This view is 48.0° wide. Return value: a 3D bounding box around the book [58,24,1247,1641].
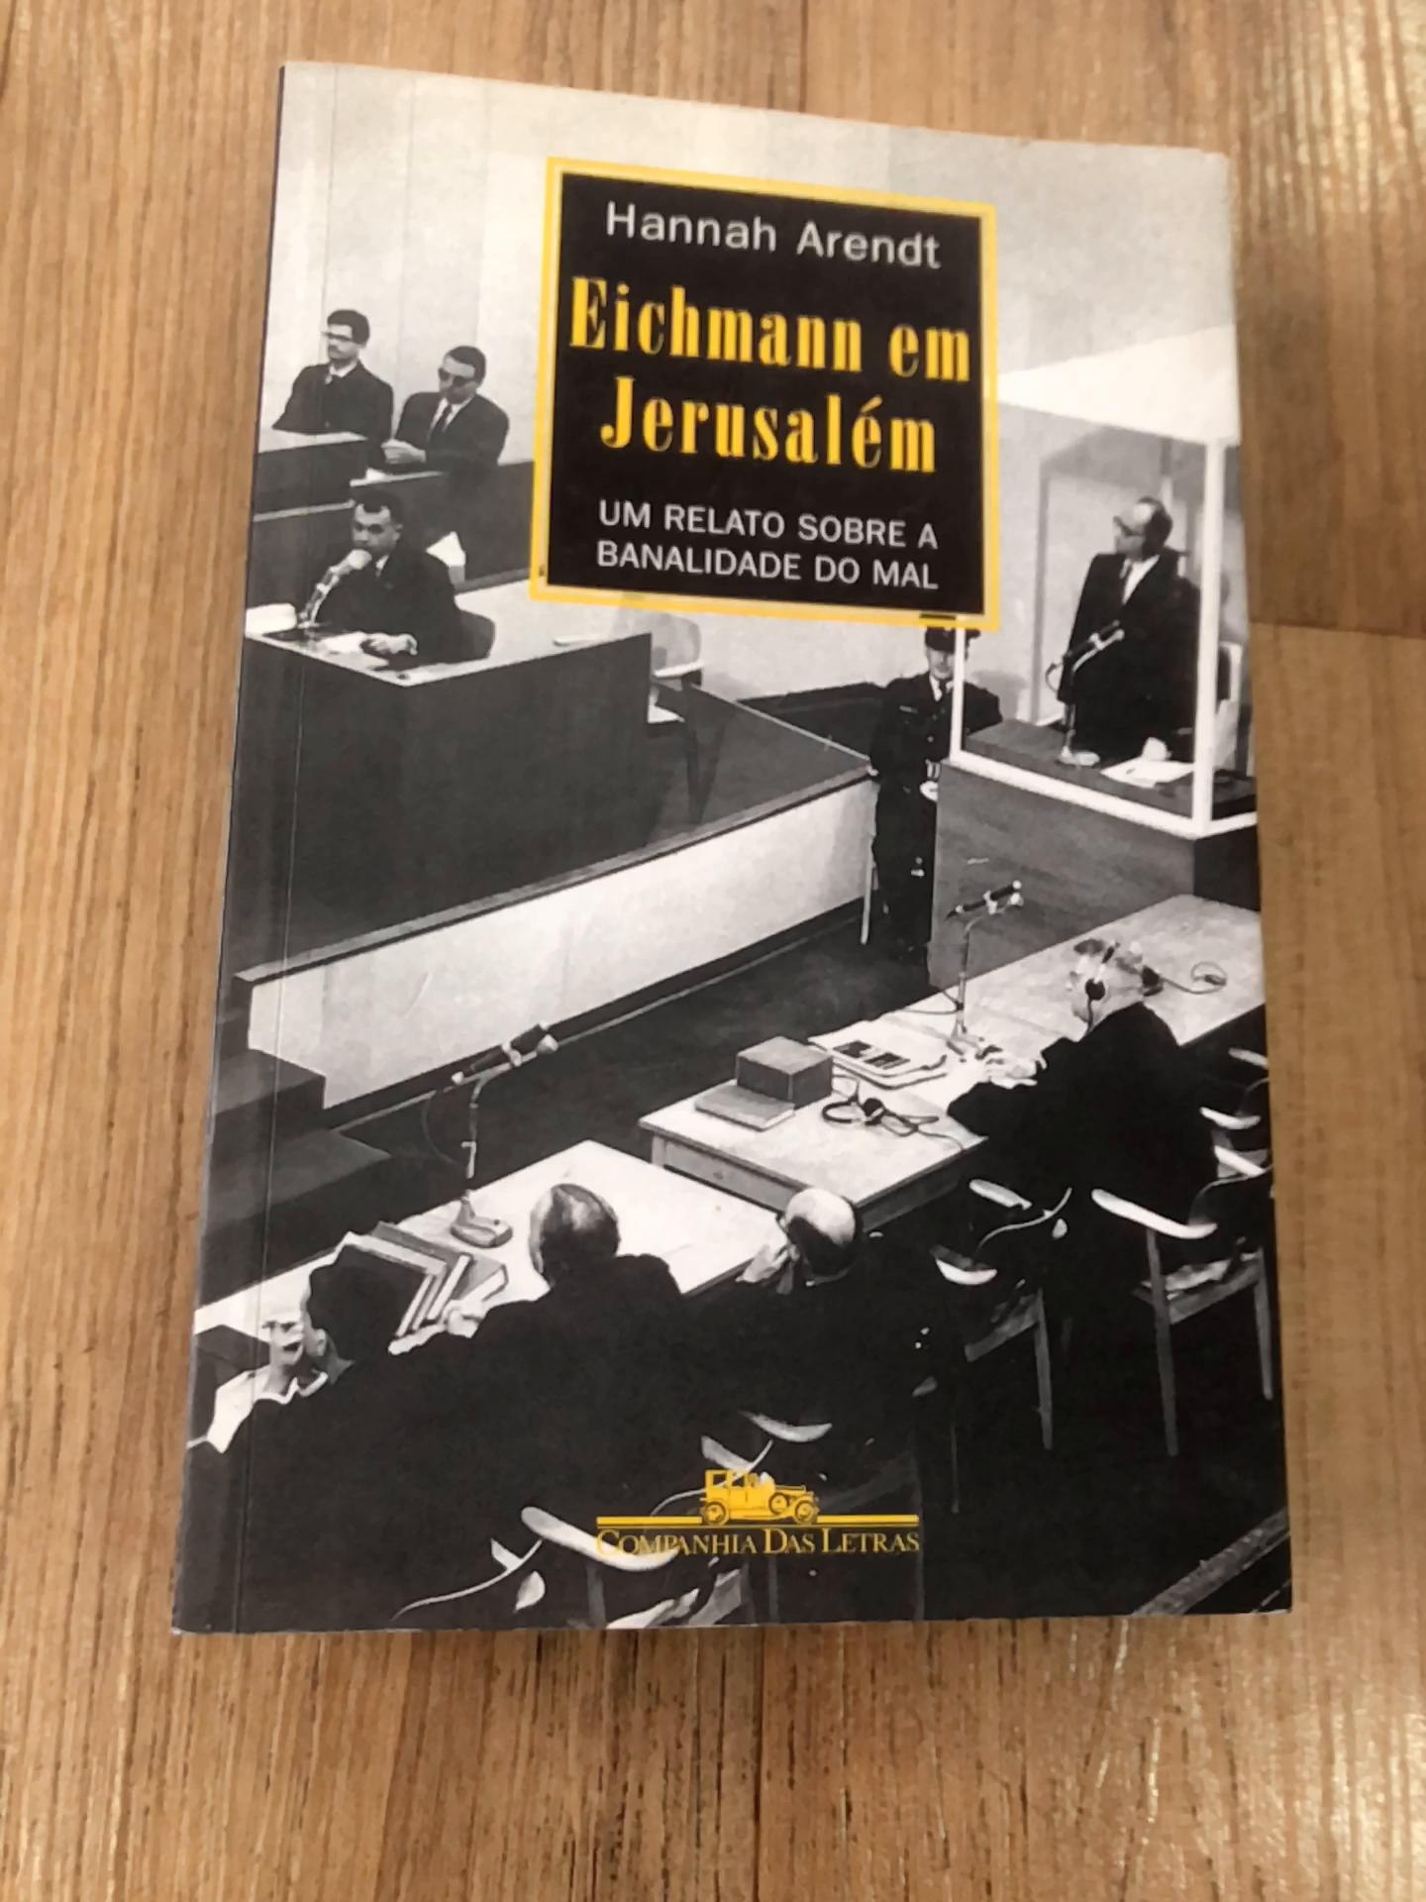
[{"bbox_3d":[-0.004,-0.017,0.218,0.140,0.030,0.200,2,80,-9],"label":"book"}]
